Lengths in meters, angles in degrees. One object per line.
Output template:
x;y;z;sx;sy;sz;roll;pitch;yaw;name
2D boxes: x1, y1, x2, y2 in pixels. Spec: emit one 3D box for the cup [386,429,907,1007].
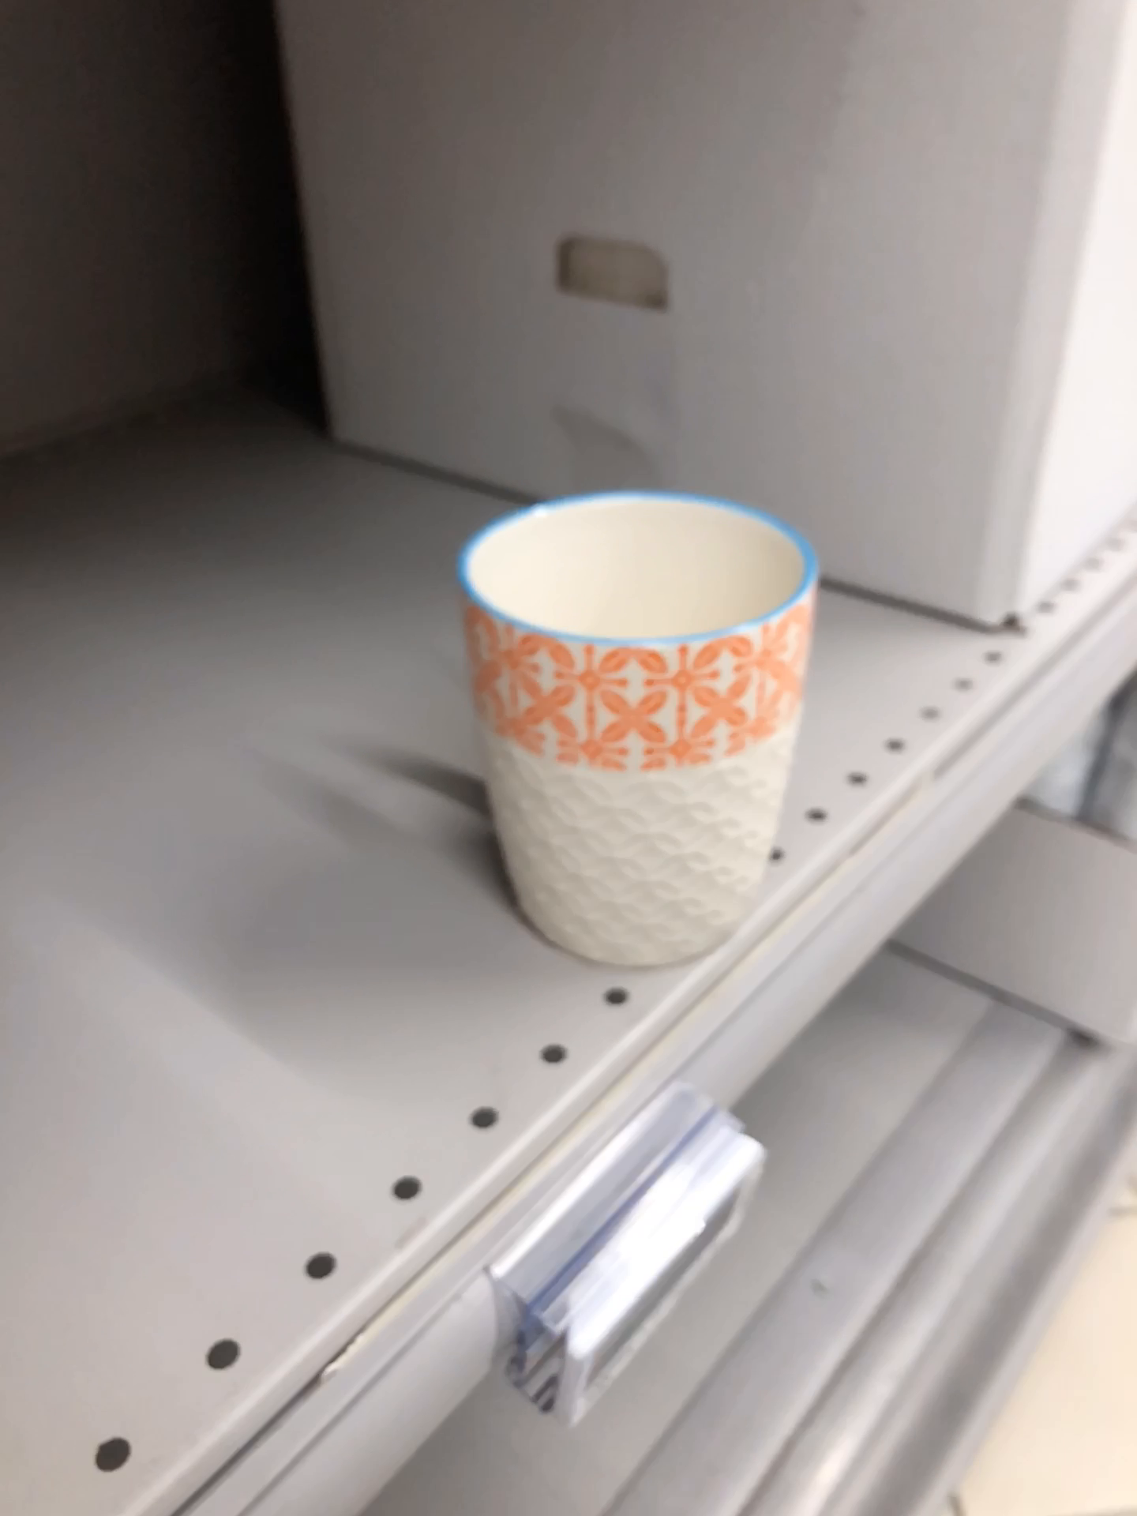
0.014;-0.018;0.347;0.091;0.095;0.117;-12;35;-17;cup
